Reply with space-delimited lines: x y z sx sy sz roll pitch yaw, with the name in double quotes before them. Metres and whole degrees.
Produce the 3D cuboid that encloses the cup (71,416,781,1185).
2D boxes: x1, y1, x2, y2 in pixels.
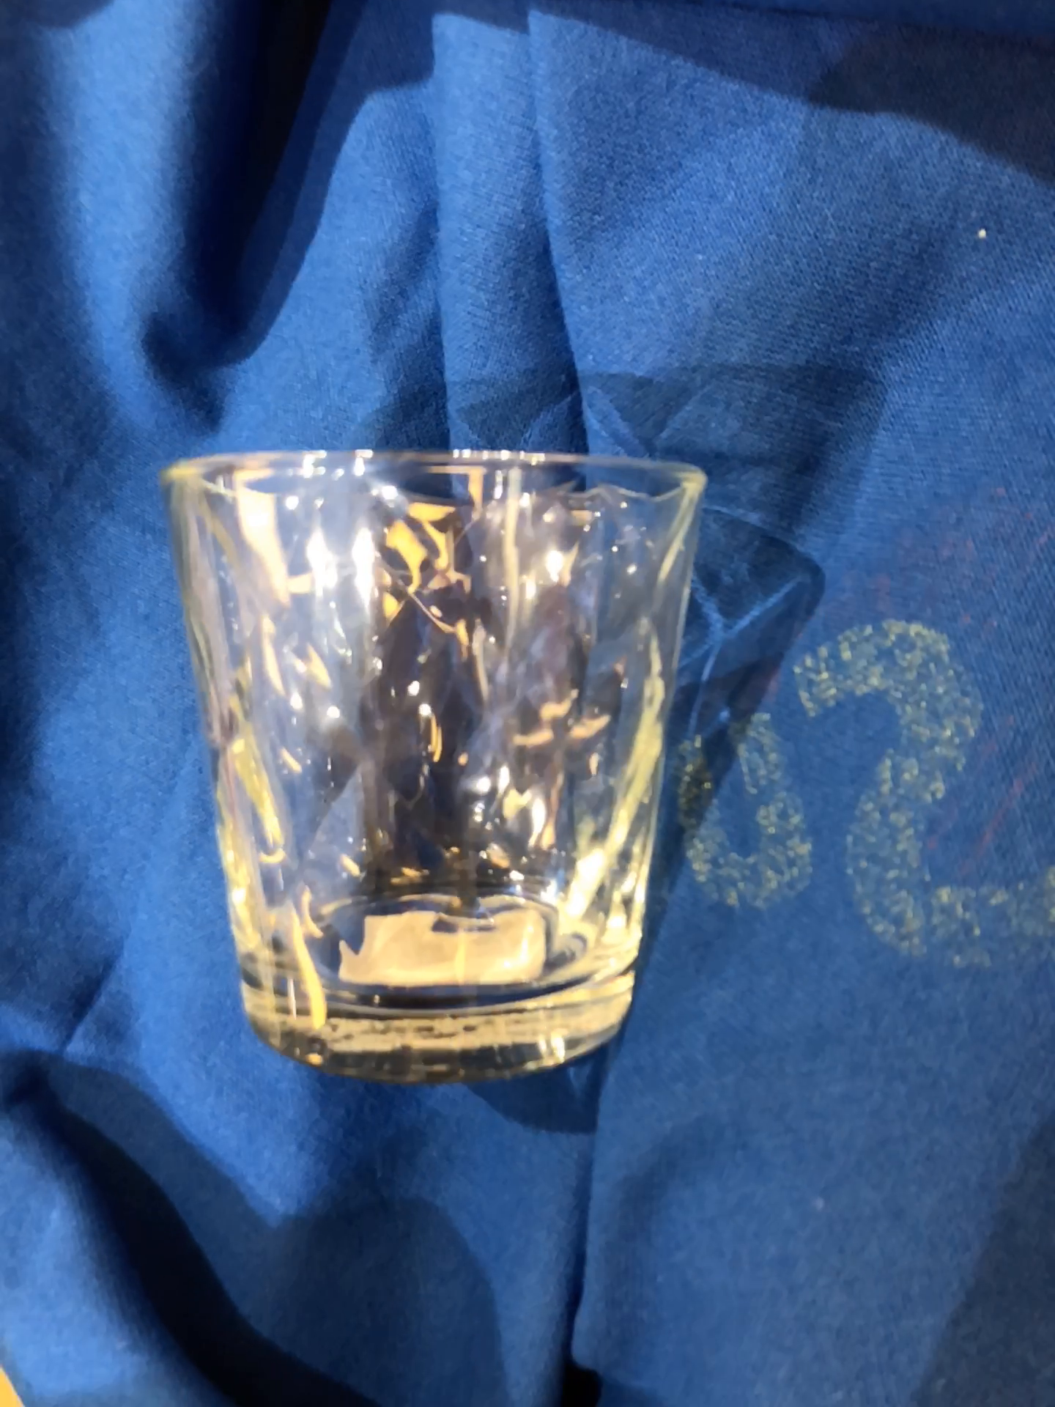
"cup" -0.010 0.005 0.181 0.080 0.070 0.090 4 102 26
